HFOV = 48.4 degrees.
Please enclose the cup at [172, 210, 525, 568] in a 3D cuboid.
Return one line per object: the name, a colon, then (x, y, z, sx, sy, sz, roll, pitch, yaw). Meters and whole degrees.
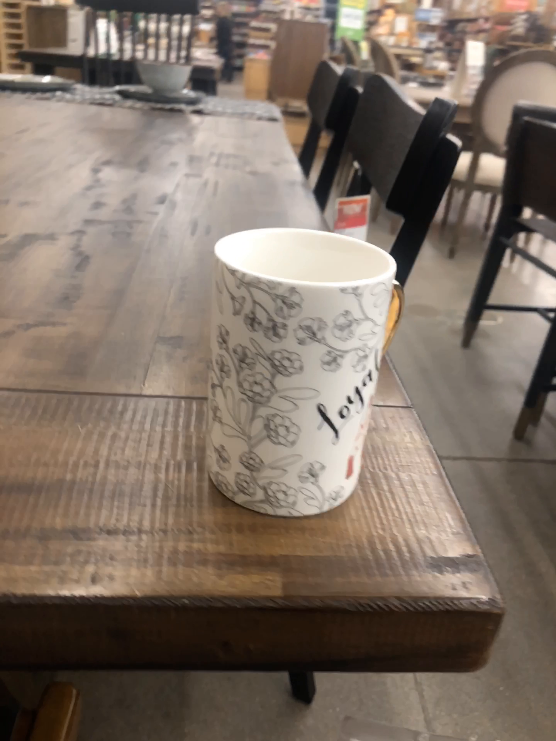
cup: (0.026, -0.003, 0.295, 0.119, 0.115, 0.097, -14, 32, -33)
